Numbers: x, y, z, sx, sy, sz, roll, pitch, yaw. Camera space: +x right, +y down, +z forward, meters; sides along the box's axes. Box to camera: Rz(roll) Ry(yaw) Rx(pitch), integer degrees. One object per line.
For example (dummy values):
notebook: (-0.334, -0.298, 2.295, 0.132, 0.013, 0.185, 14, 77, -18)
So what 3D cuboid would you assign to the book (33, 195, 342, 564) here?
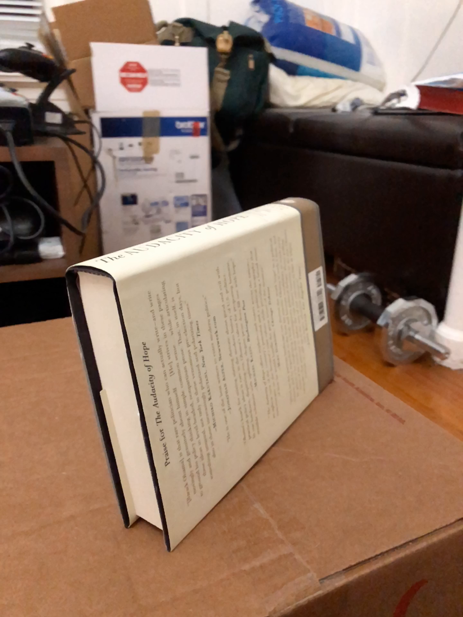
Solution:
book: (-0.001, 0.020, 0.374, 0.060, 0.169, 0.251, 1, 17, 33)
